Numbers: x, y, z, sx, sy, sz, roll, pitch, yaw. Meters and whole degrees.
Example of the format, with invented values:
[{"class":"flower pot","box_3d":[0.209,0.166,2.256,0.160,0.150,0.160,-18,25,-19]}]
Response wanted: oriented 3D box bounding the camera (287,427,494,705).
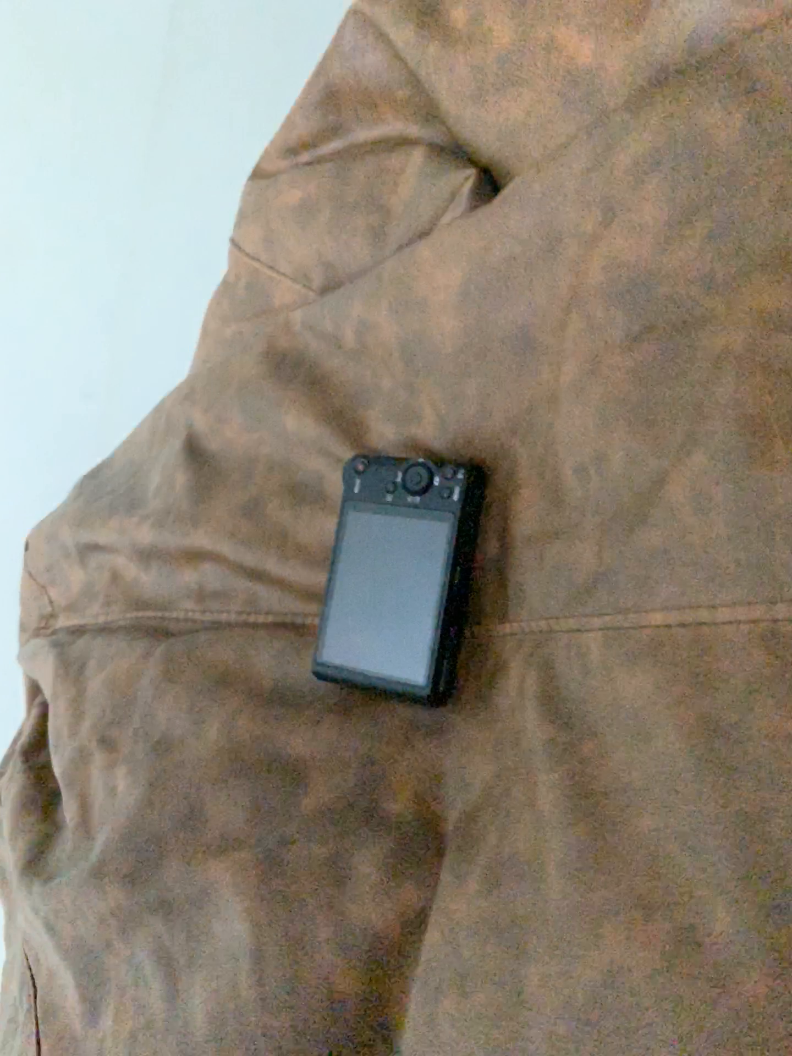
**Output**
[{"class":"camera","box_3d":[-0.002,0.013,0.323,0.060,0.024,0.100,7,83,37]}]
